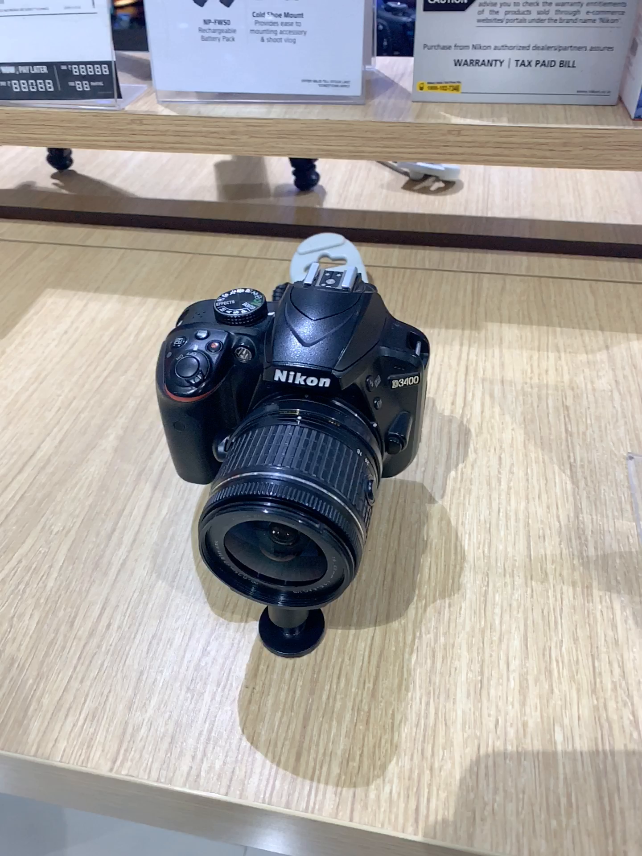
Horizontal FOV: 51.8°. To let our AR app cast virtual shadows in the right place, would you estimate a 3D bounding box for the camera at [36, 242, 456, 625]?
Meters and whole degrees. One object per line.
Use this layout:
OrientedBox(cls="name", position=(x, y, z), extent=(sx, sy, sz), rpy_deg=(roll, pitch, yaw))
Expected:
OrientedBox(cls="camera", position=(-0.014, -0.003, 0.233), extent=(0.110, 0.073, 0.100), rpy_deg=(7, 44, 7))
